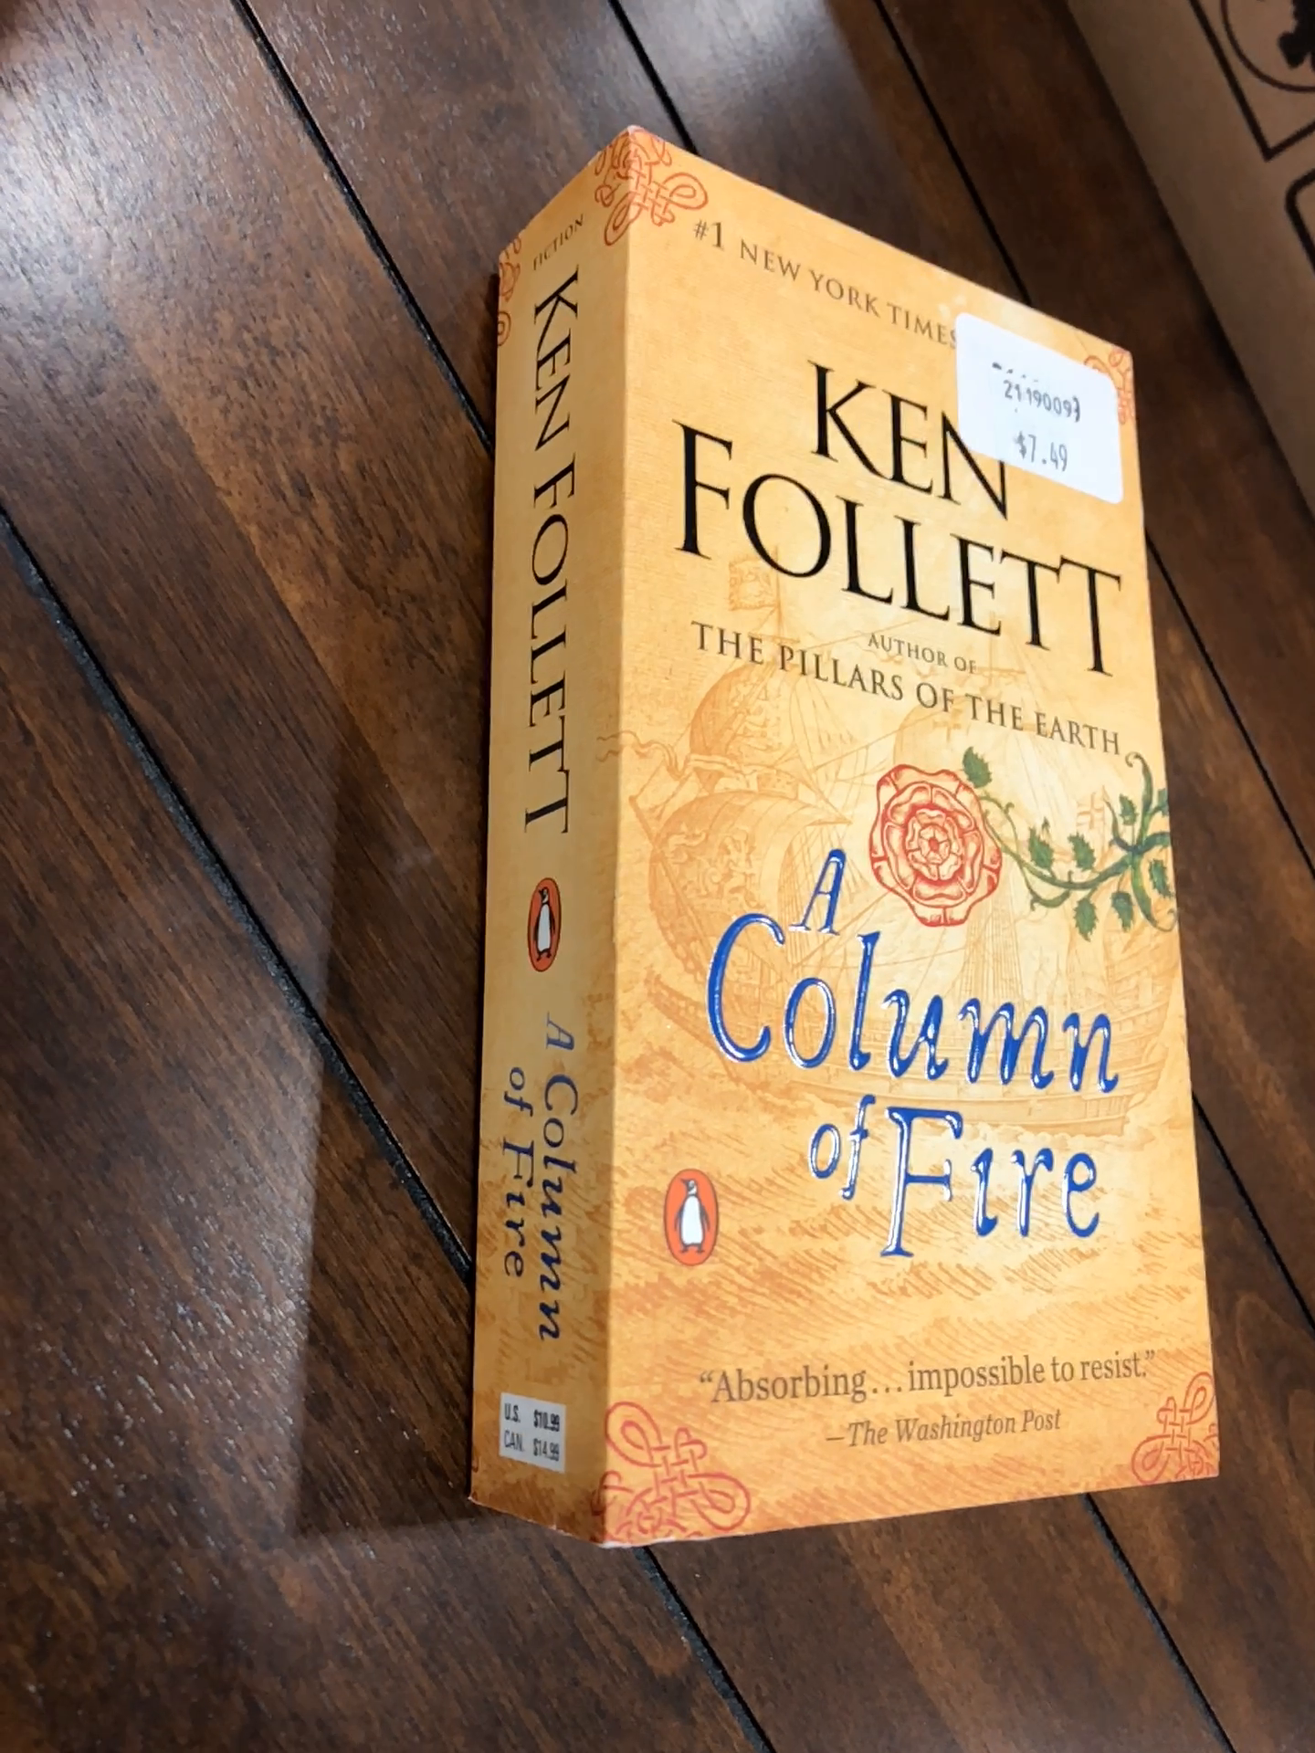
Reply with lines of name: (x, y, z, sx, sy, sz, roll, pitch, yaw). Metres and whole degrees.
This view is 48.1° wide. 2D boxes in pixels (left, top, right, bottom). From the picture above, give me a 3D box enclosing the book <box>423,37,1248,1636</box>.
book: (0.028, -0.006, 0.220, 0.110, 0.040, 0.195, 9, 74, -33)
